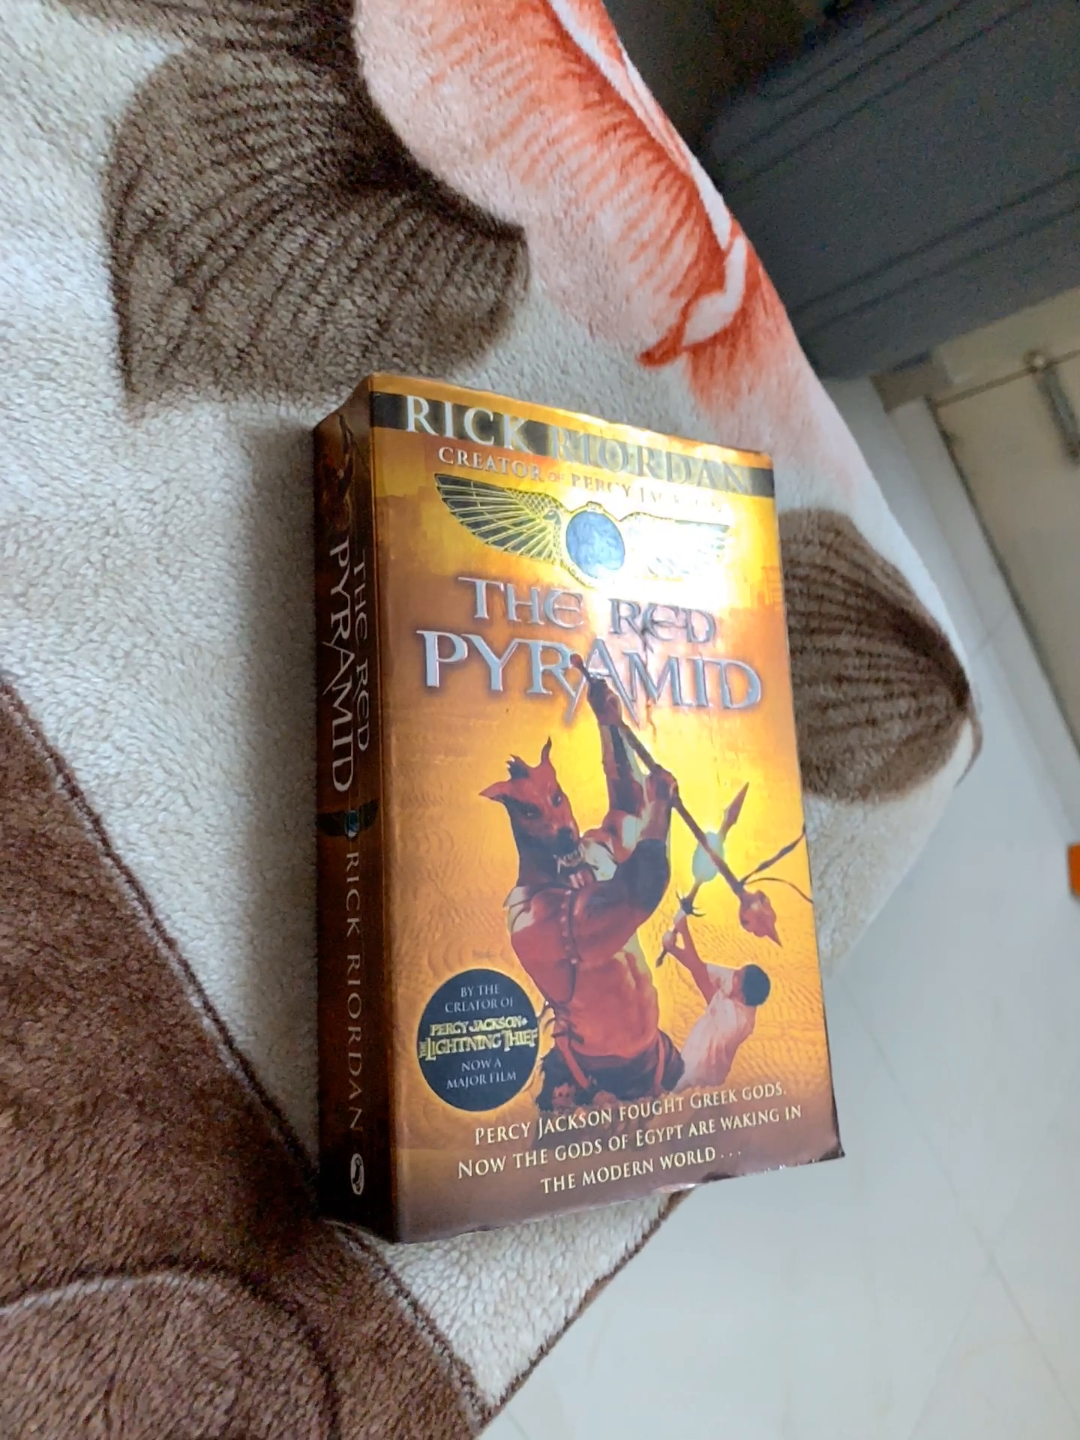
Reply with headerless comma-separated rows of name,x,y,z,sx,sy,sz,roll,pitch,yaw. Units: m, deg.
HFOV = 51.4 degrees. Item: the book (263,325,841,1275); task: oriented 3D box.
book,0.004,0.017,0.316,0.151,0.040,0.220,4,76,-34
